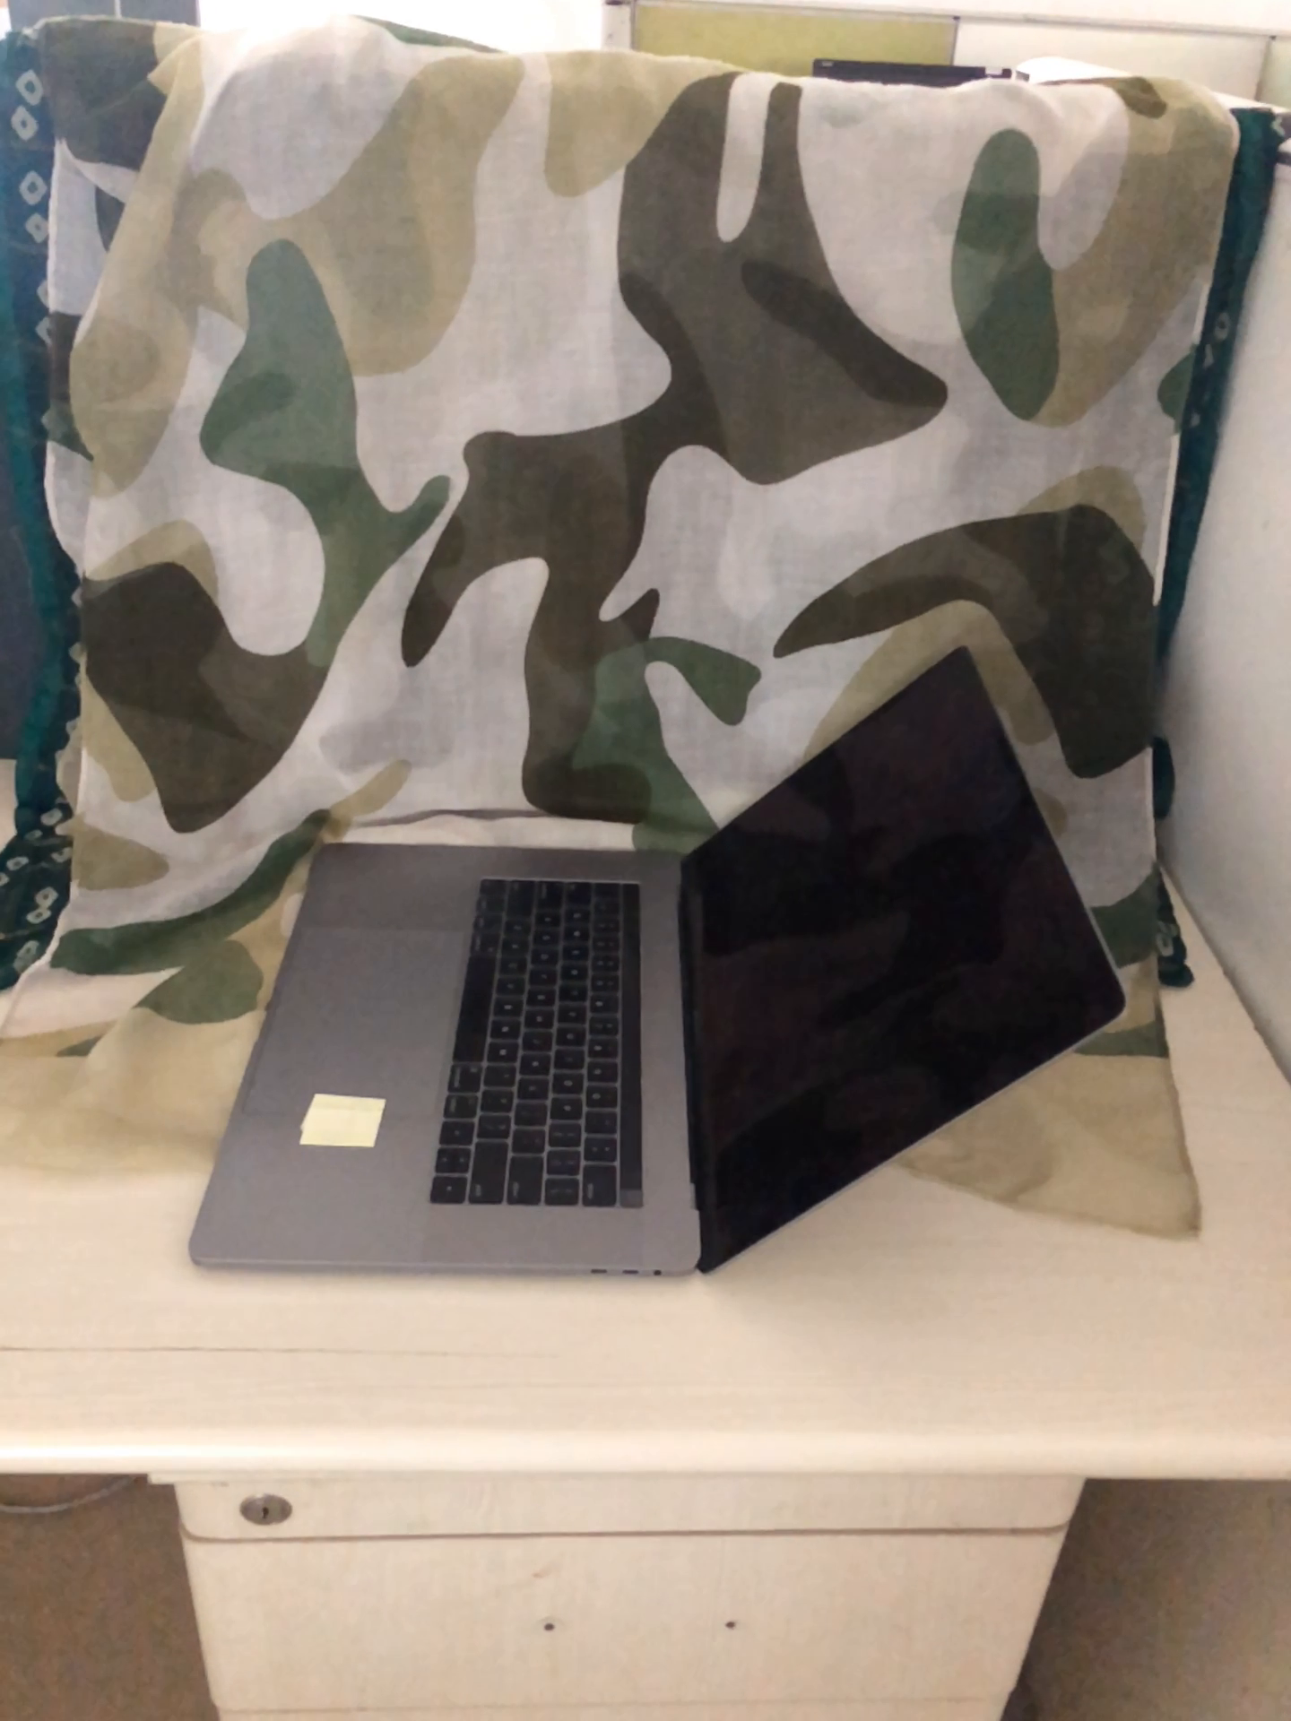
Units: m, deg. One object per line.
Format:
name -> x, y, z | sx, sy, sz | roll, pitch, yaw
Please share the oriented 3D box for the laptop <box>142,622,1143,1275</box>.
laptop -> -0.007, 0.024, 0.755 | 0.402, 0.165, 0.343 | 1, 32, -1
